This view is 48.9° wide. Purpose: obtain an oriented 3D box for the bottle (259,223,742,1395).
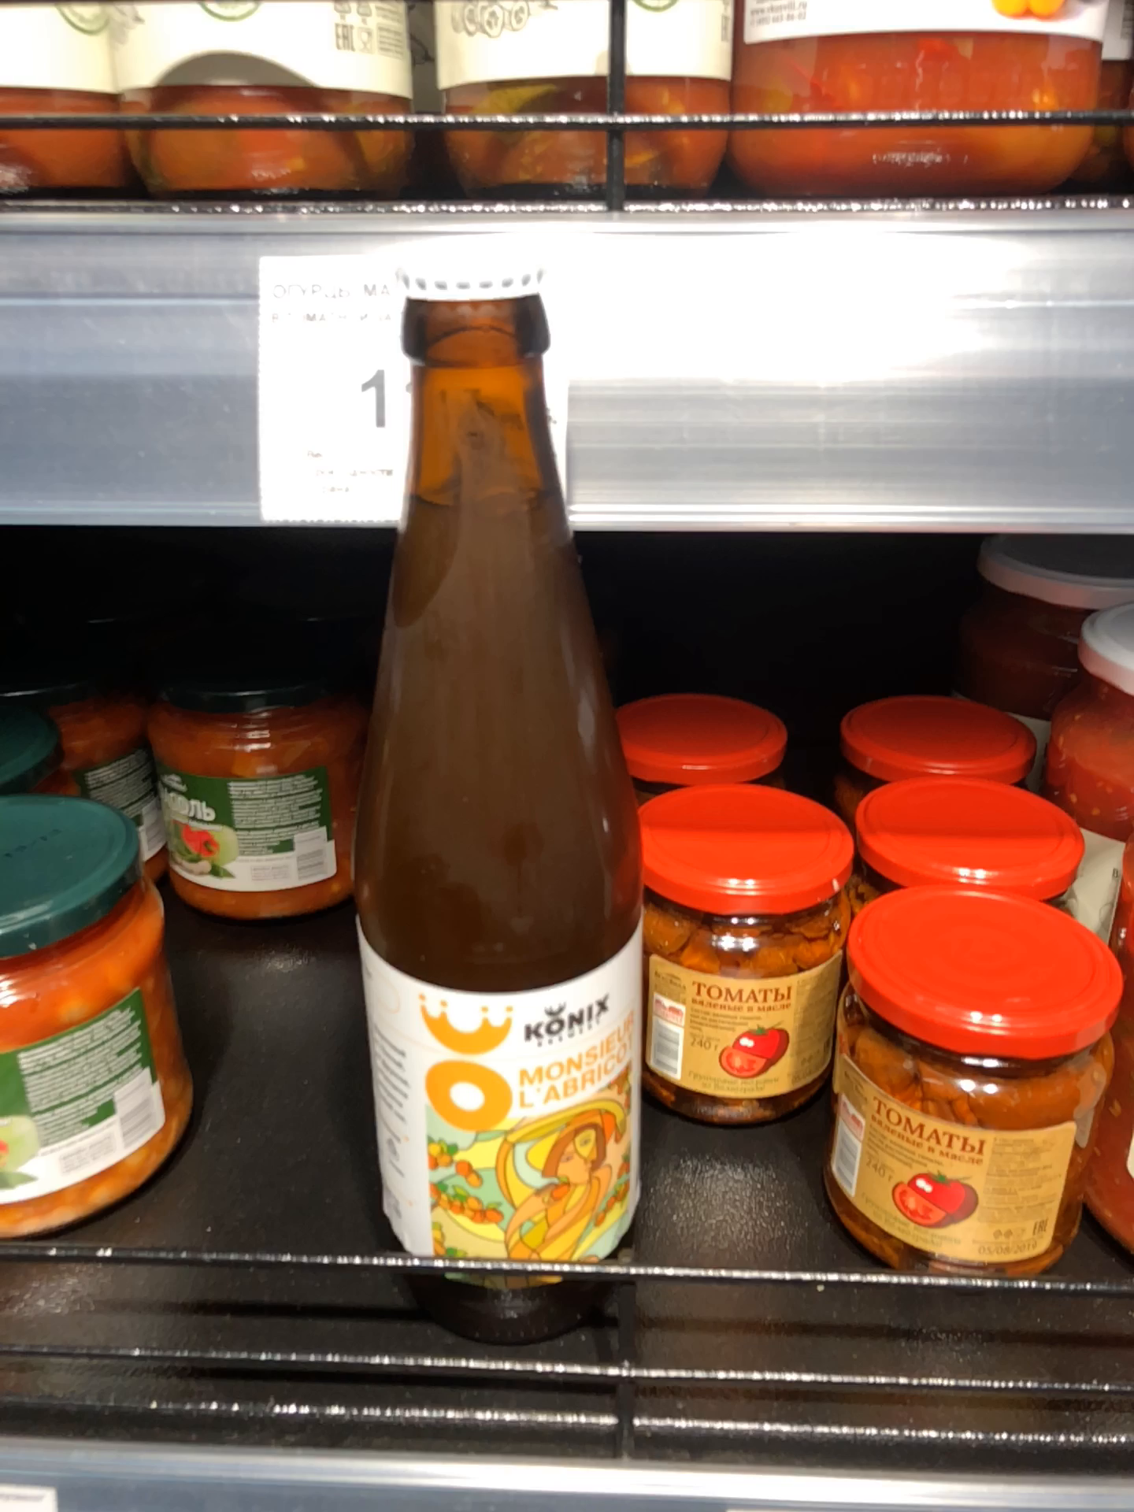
[{"bbox_3d":[-0.015,0.018,0.280,0.070,0.249,0.070,0,26,0],"label":"bottle"}]
